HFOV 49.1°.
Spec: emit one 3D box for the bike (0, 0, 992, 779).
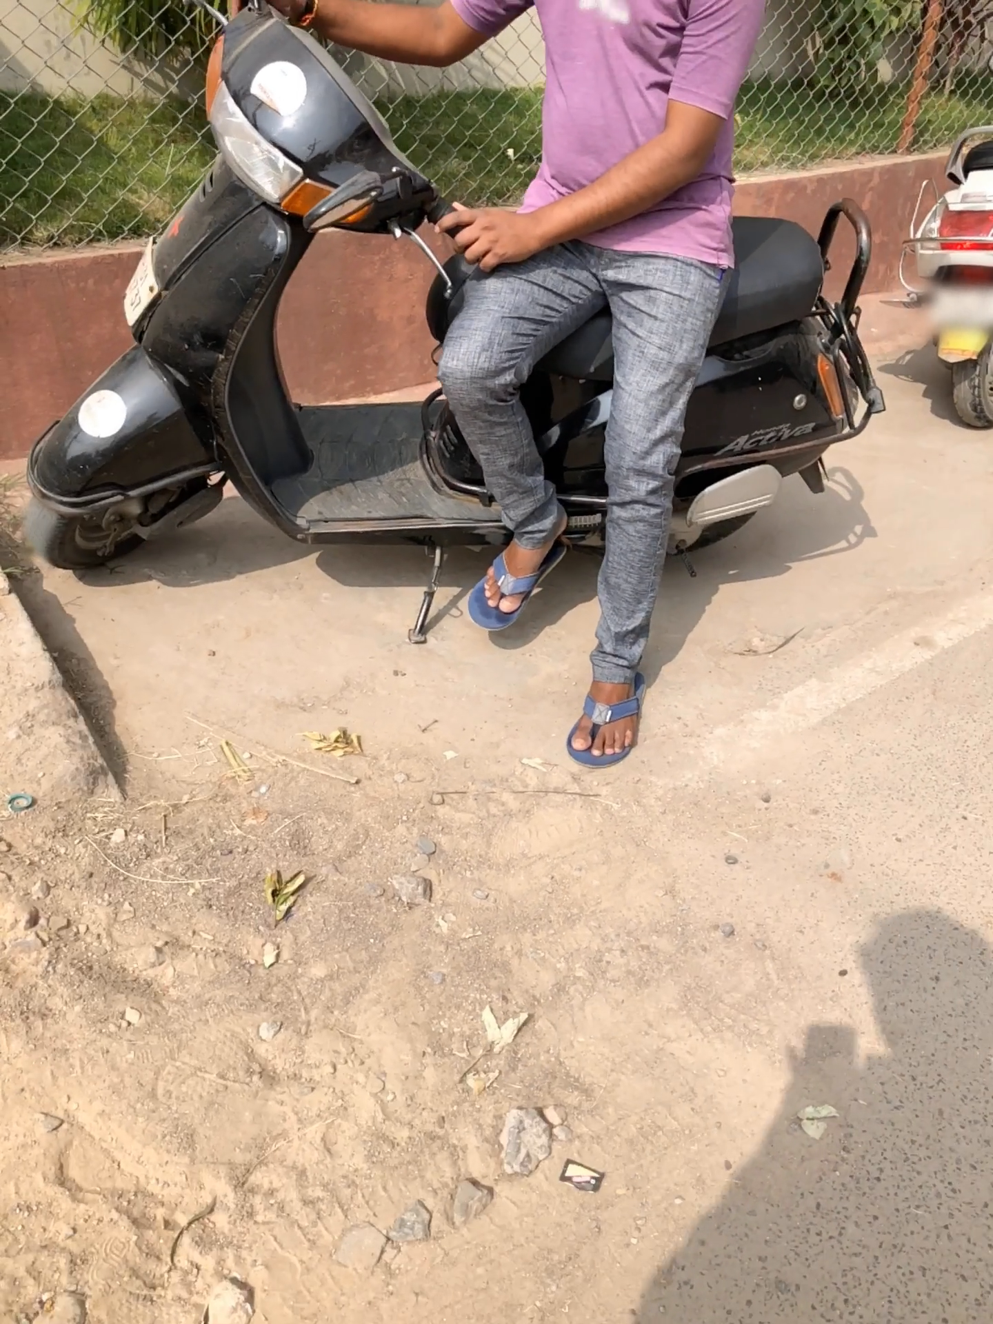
[{"bbox_3d":[-0.102,-0.559,1.971,1.549,1.153,0.711,-6,36,-13],"label":"bike"}]
